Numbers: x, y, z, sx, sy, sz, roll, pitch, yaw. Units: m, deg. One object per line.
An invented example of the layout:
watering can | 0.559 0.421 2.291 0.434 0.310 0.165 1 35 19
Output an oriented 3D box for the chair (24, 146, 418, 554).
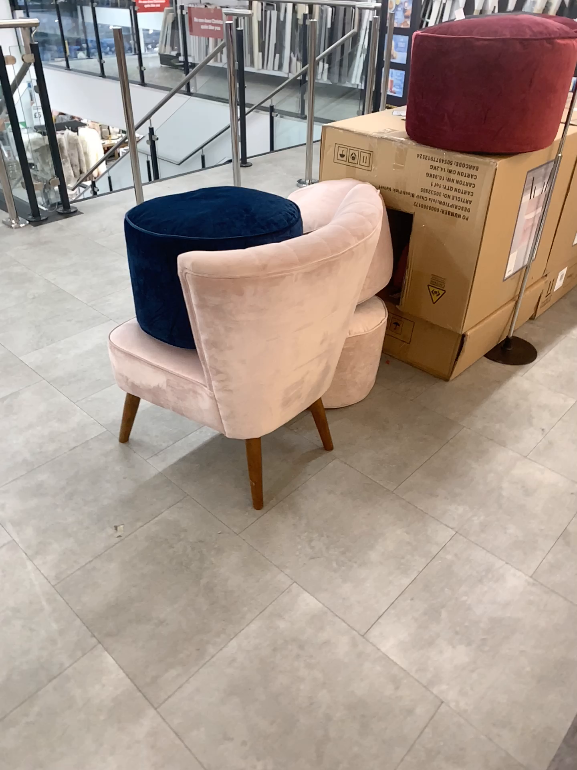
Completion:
chair | -0.175 -0.172 1.715 0.734 0.772 0.693 28 43 34

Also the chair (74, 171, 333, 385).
chair | -0.229 -0.342 1.684 0.495 0.340 0.497 28 43 34
